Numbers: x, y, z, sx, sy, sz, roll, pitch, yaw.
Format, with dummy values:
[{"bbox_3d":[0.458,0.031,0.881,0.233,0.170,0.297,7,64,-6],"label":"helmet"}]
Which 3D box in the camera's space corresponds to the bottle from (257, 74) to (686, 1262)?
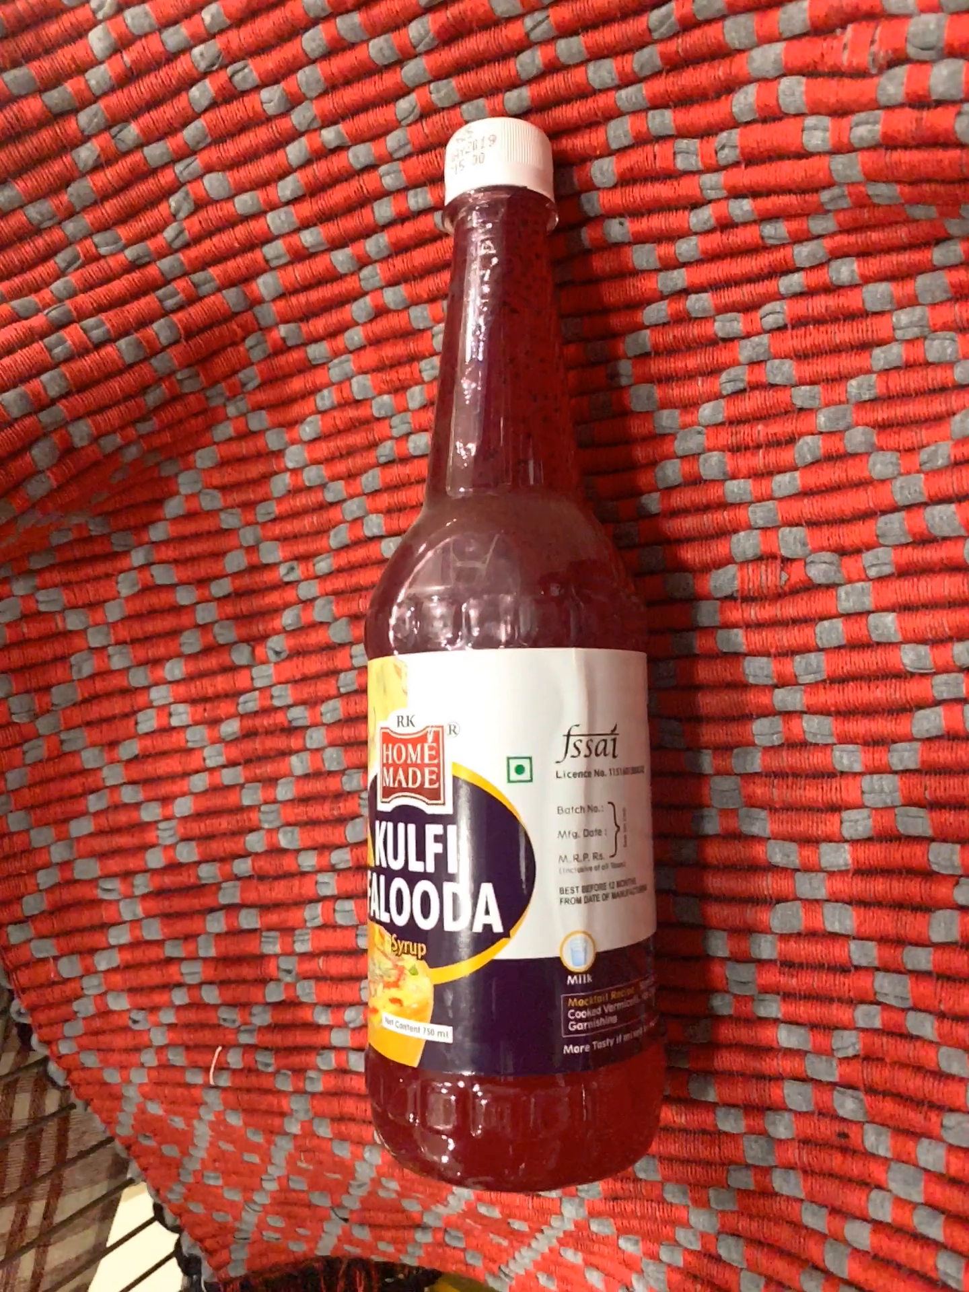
[{"bbox_3d":[0.004,-0.001,0.254,0.070,0.070,0.250,-4,77,30],"label":"bottle"}]
